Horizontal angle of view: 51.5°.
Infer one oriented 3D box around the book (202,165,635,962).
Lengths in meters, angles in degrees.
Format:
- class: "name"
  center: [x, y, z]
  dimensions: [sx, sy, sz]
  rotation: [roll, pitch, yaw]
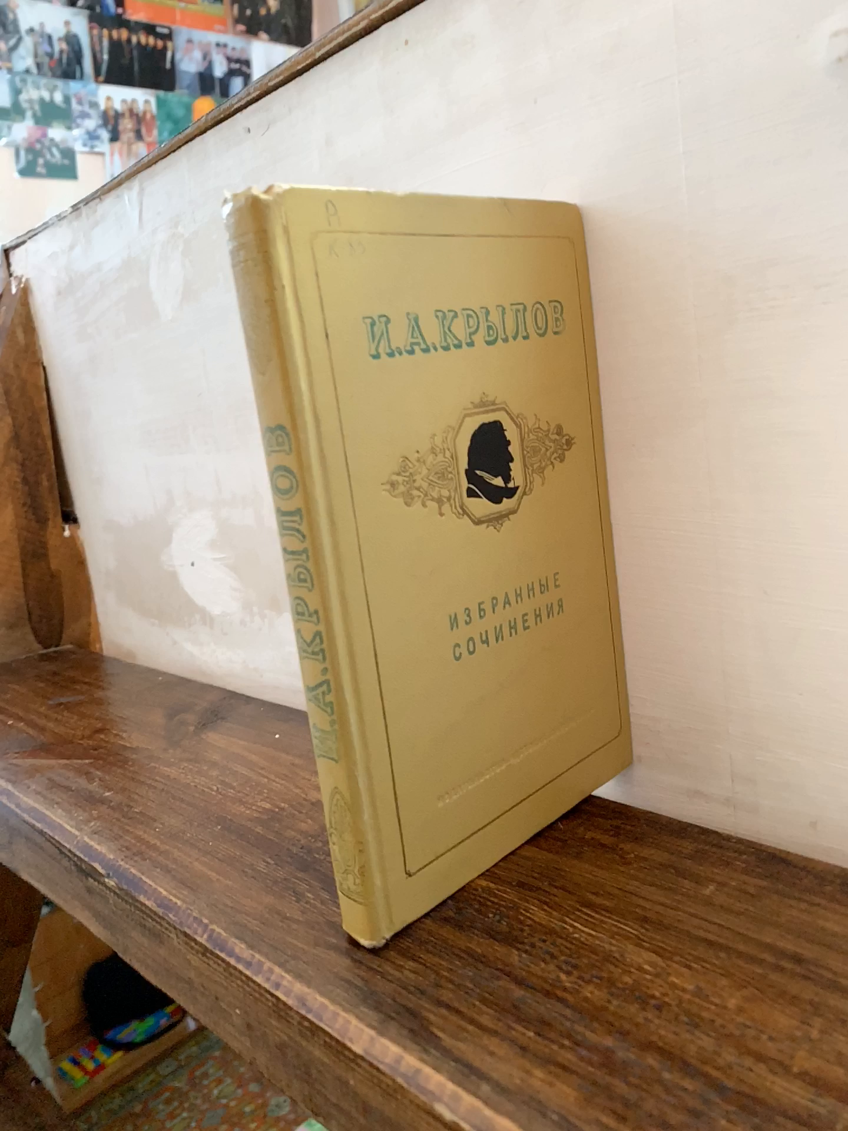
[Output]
- class: "book"
  center: [0.012, -0.008, 0.273]
  dimensions: [0.132, 0.206, 0.020]
  rotation: [-17, 14, -42]
